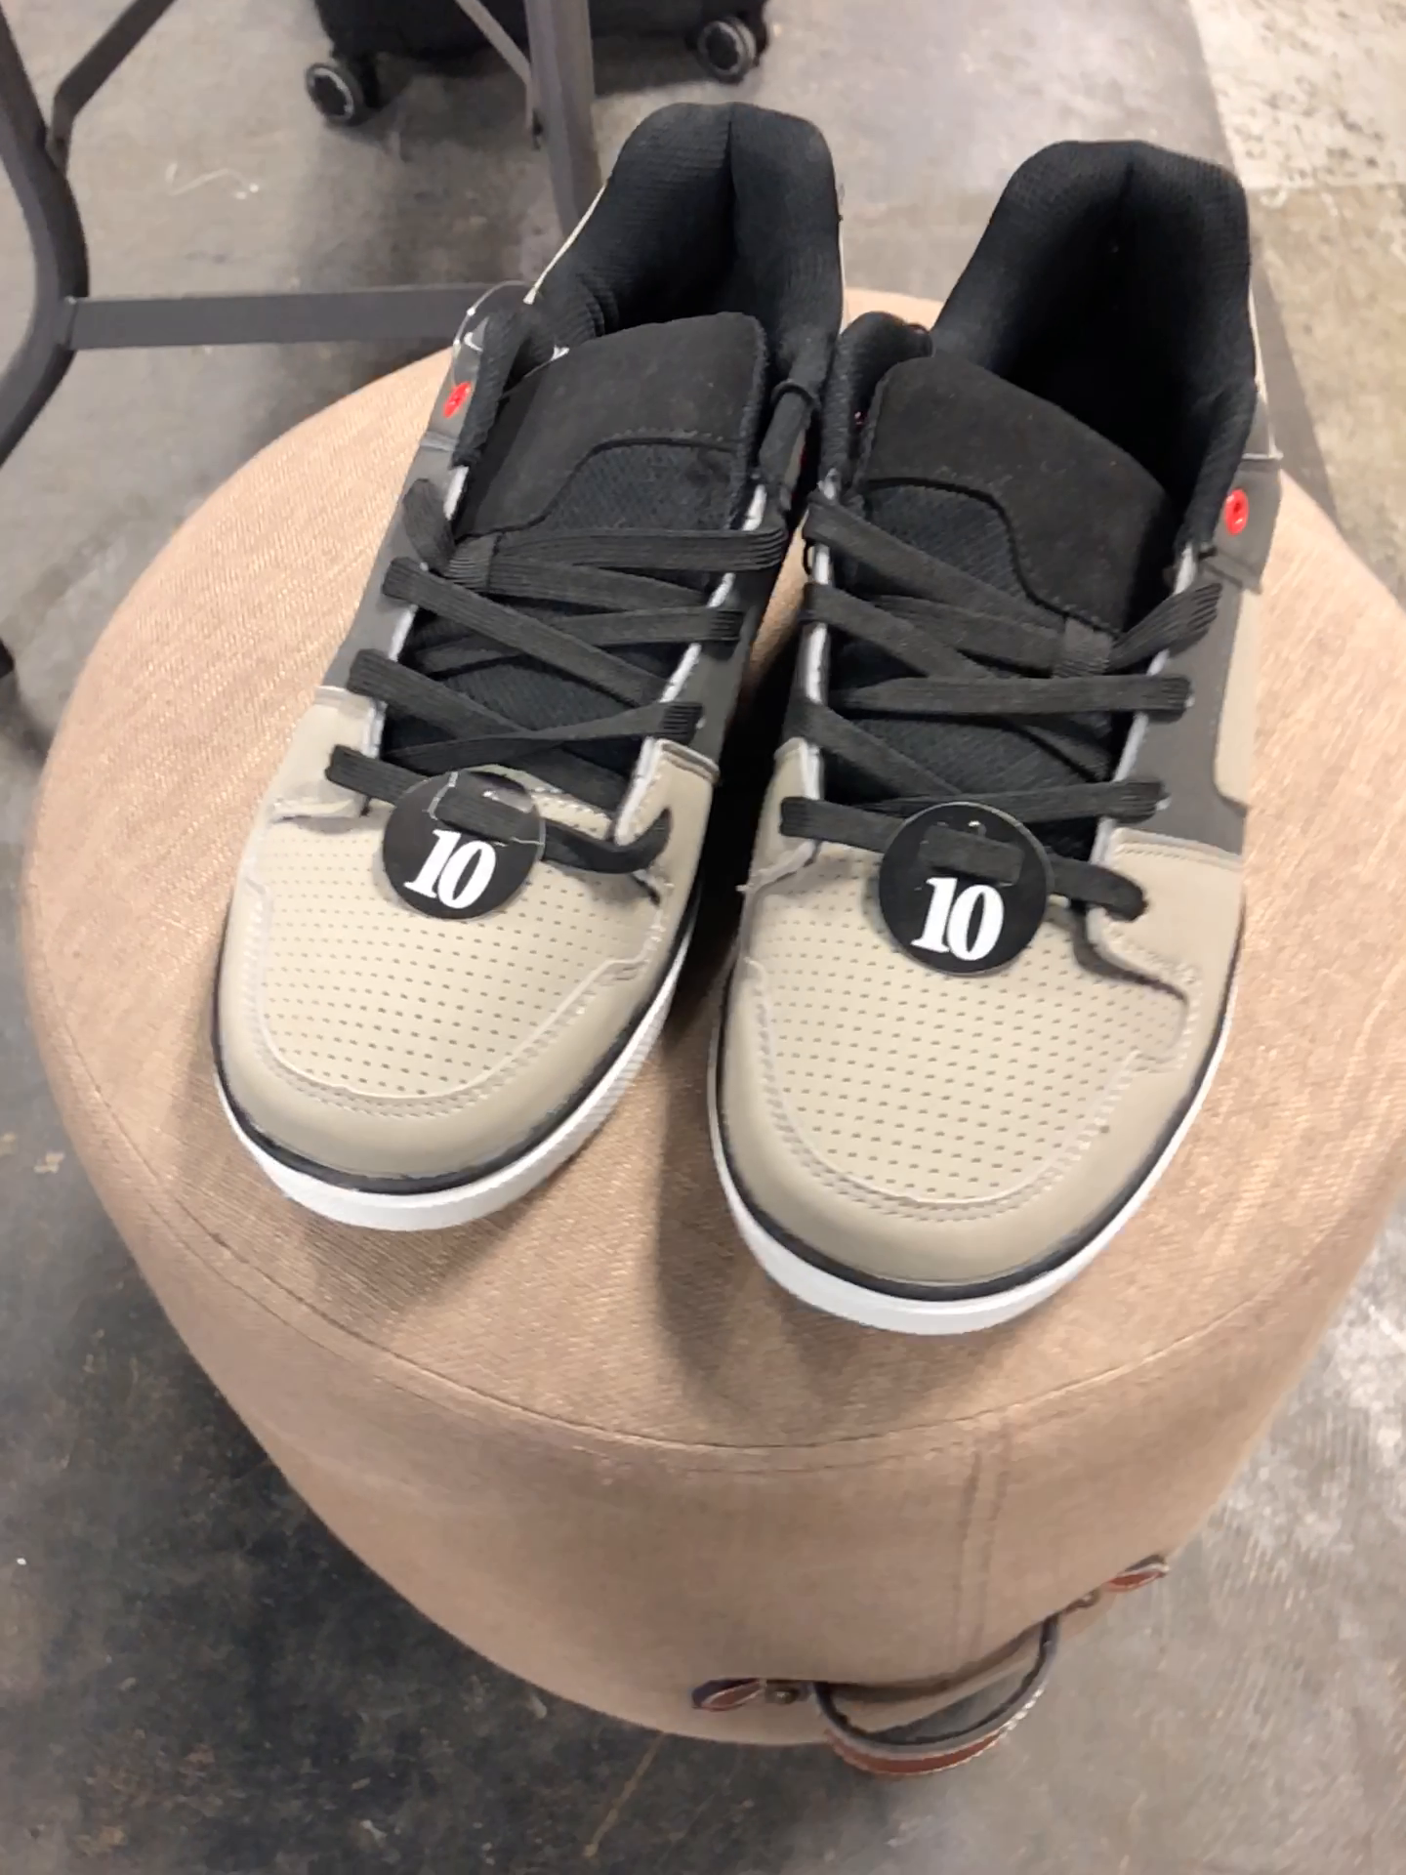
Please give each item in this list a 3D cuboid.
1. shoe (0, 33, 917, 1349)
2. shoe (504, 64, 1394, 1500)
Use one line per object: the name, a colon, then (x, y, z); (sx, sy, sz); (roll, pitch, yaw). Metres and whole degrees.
shoe: (-0.046, -0.068, 0.346); (0.120, 0.119, 0.261); (14, 58, 12)
shoe: (0.071, -0.058, 0.347); (0.120, 0.099, 0.312); (12, 58, 10)
